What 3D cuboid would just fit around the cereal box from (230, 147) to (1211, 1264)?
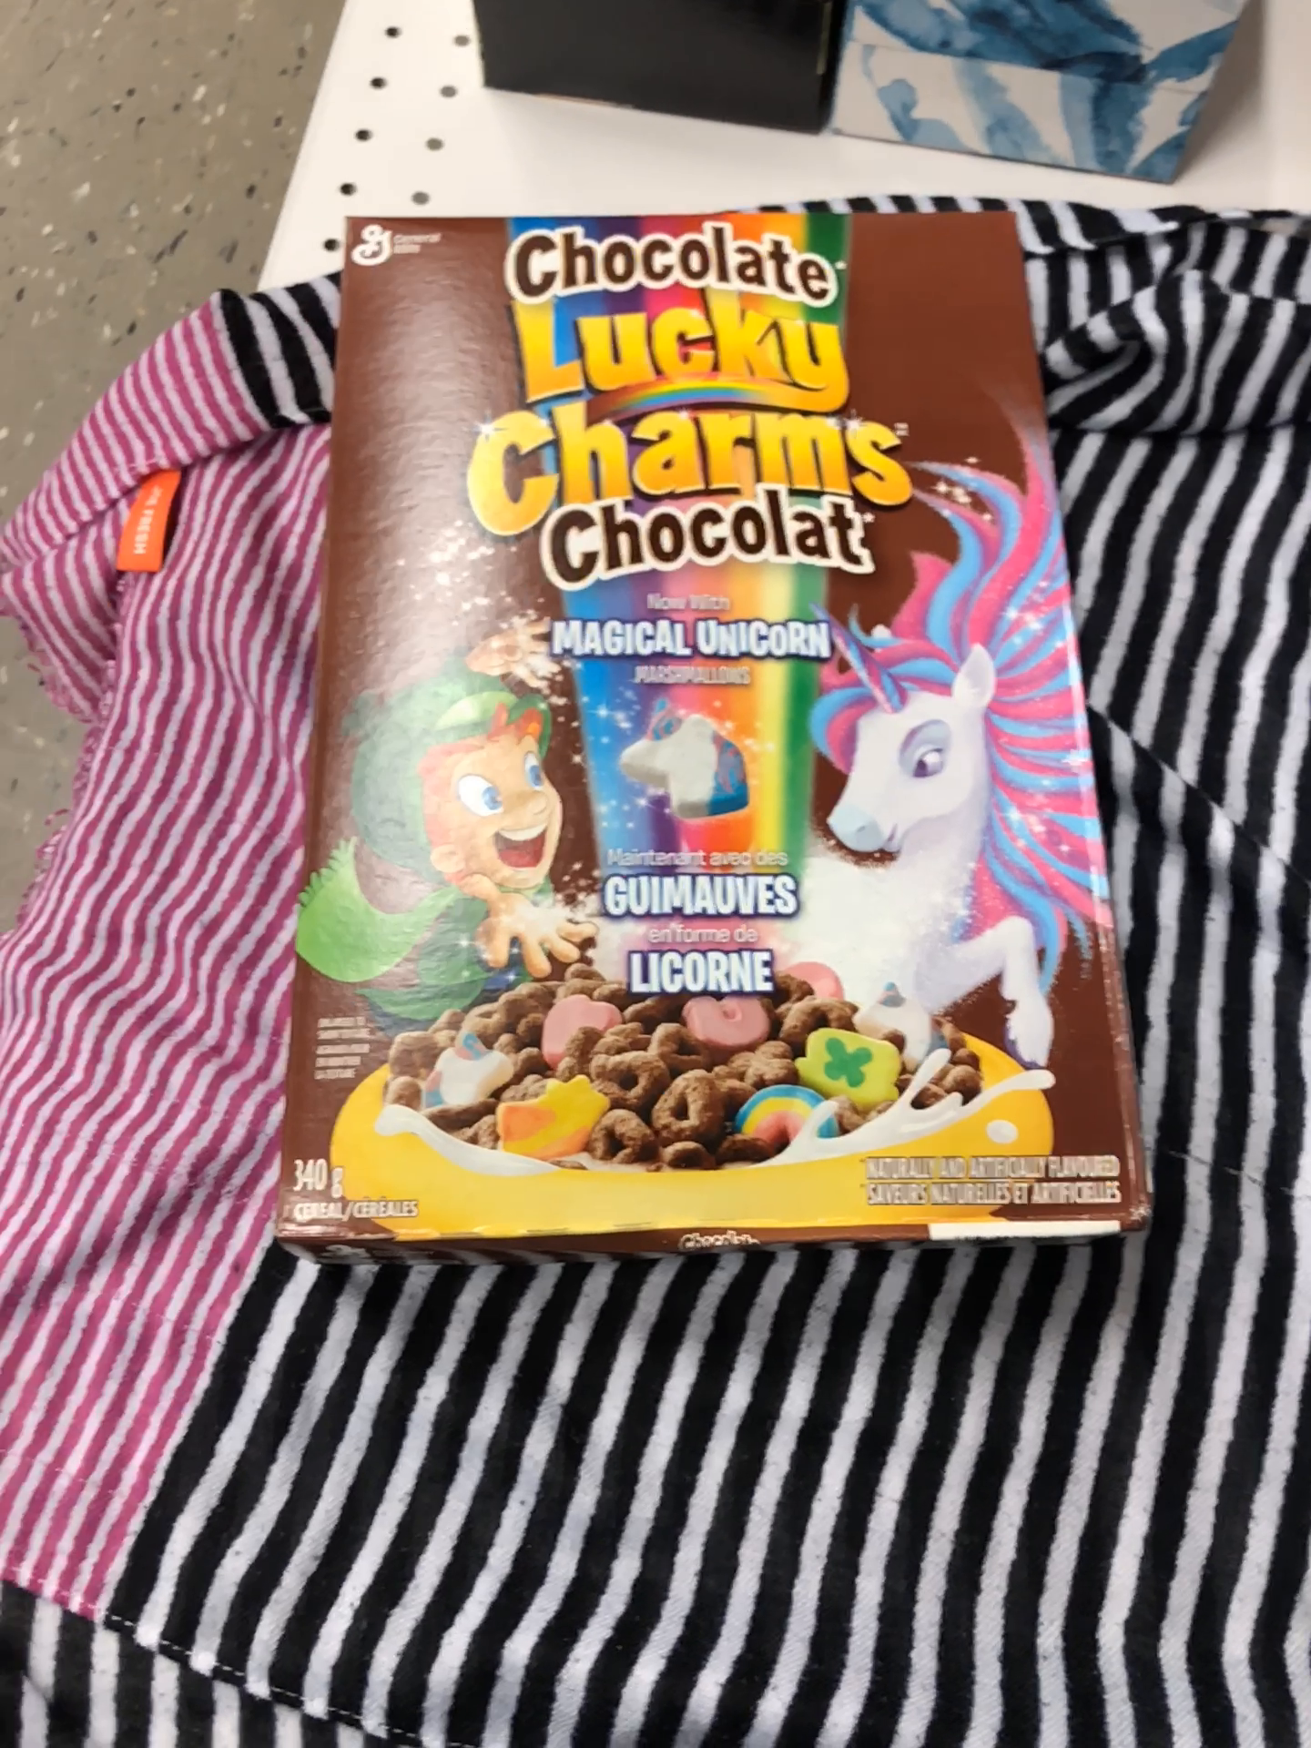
[{"bbox_3d":[0.011,-0.051,0.385,0.210,0.060,0.290,-1,72,-1],"label":"cereal box"}]
